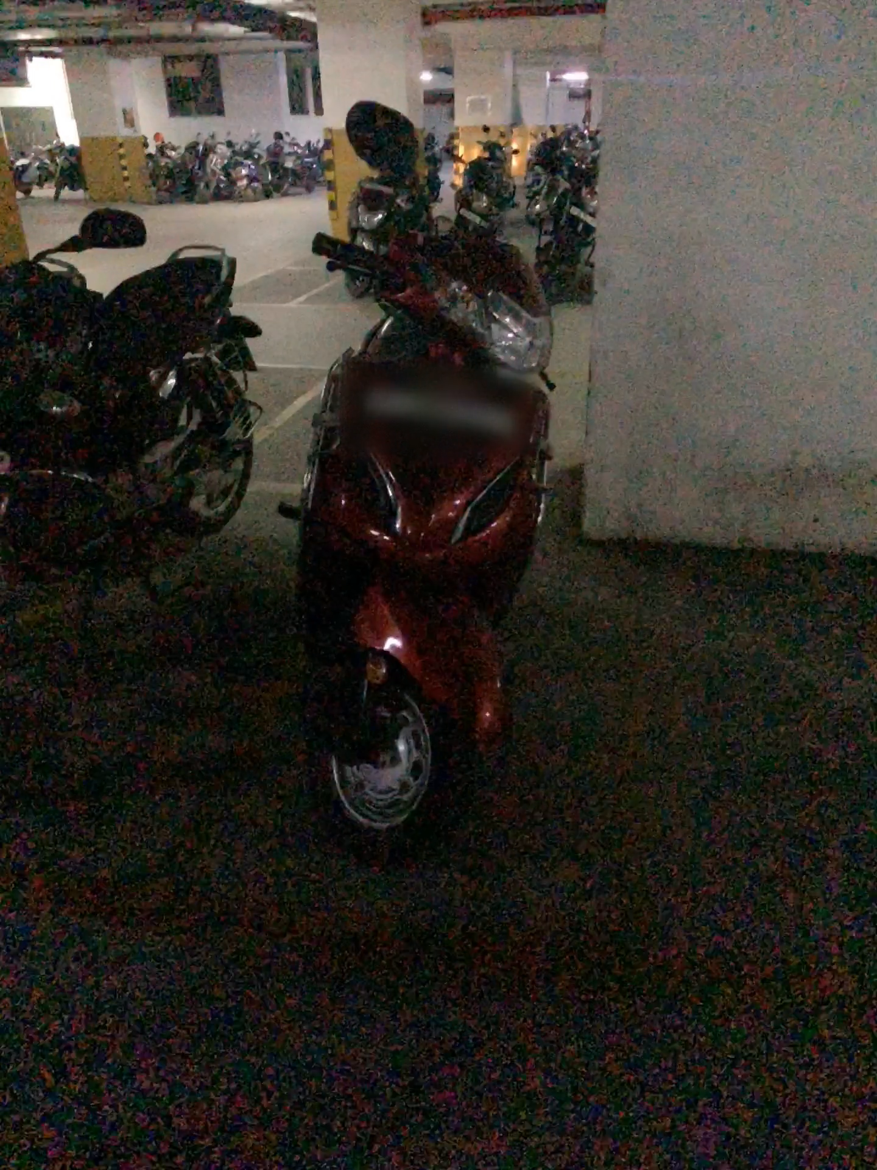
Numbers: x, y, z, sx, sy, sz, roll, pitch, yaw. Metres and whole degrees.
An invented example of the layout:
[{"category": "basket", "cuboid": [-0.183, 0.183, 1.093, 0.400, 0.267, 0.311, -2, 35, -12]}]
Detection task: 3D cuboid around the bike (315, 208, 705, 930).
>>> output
[{"category": "bike", "cuboid": [0.051, -0.181, 2.107, 0.487, 0.908, 1.398, -6, 36, -9]}]
